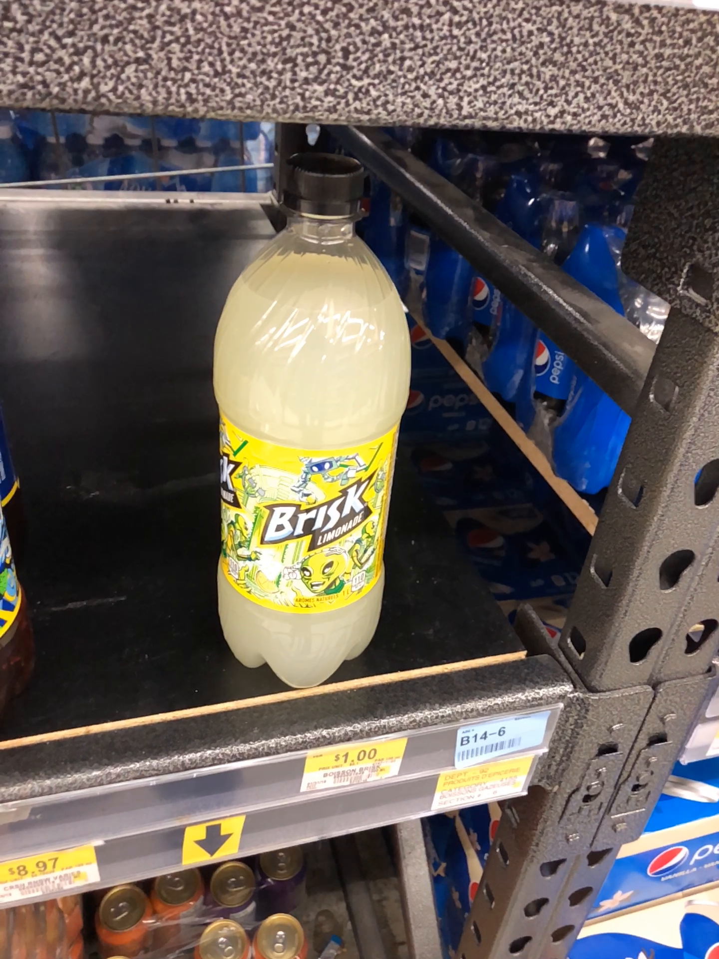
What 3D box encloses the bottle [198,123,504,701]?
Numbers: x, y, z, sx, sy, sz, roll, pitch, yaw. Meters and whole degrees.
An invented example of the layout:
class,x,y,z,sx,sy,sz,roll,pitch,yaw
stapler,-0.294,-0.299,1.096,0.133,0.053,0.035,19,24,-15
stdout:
class,x,y,z,sx,sy,sz,roll,pitch,yaw
bottle,-0.019,-0.021,0.347,0.090,0.228,0.091,5,34,-3
